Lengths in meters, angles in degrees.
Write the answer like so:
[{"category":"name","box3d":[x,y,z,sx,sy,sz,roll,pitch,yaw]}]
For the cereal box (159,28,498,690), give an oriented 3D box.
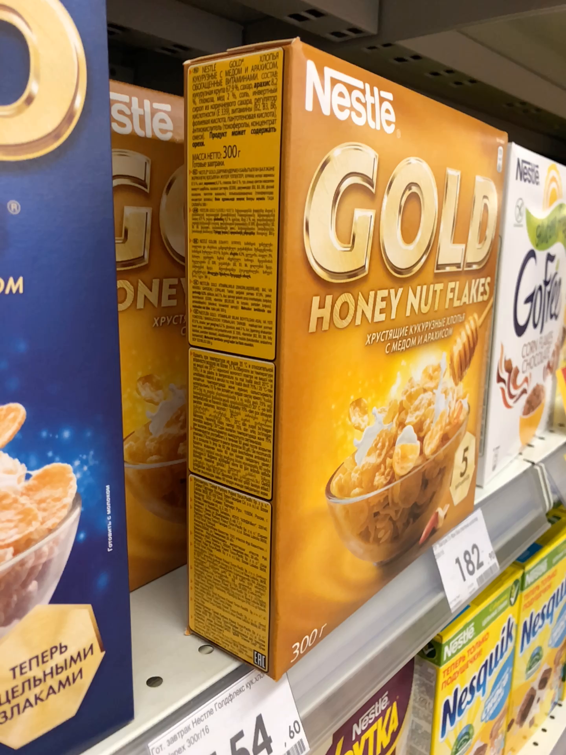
[{"category":"cereal box","box3d":[0.034,-0.013,0.294,0.050,0.219,0.191,9,14,37]}]
